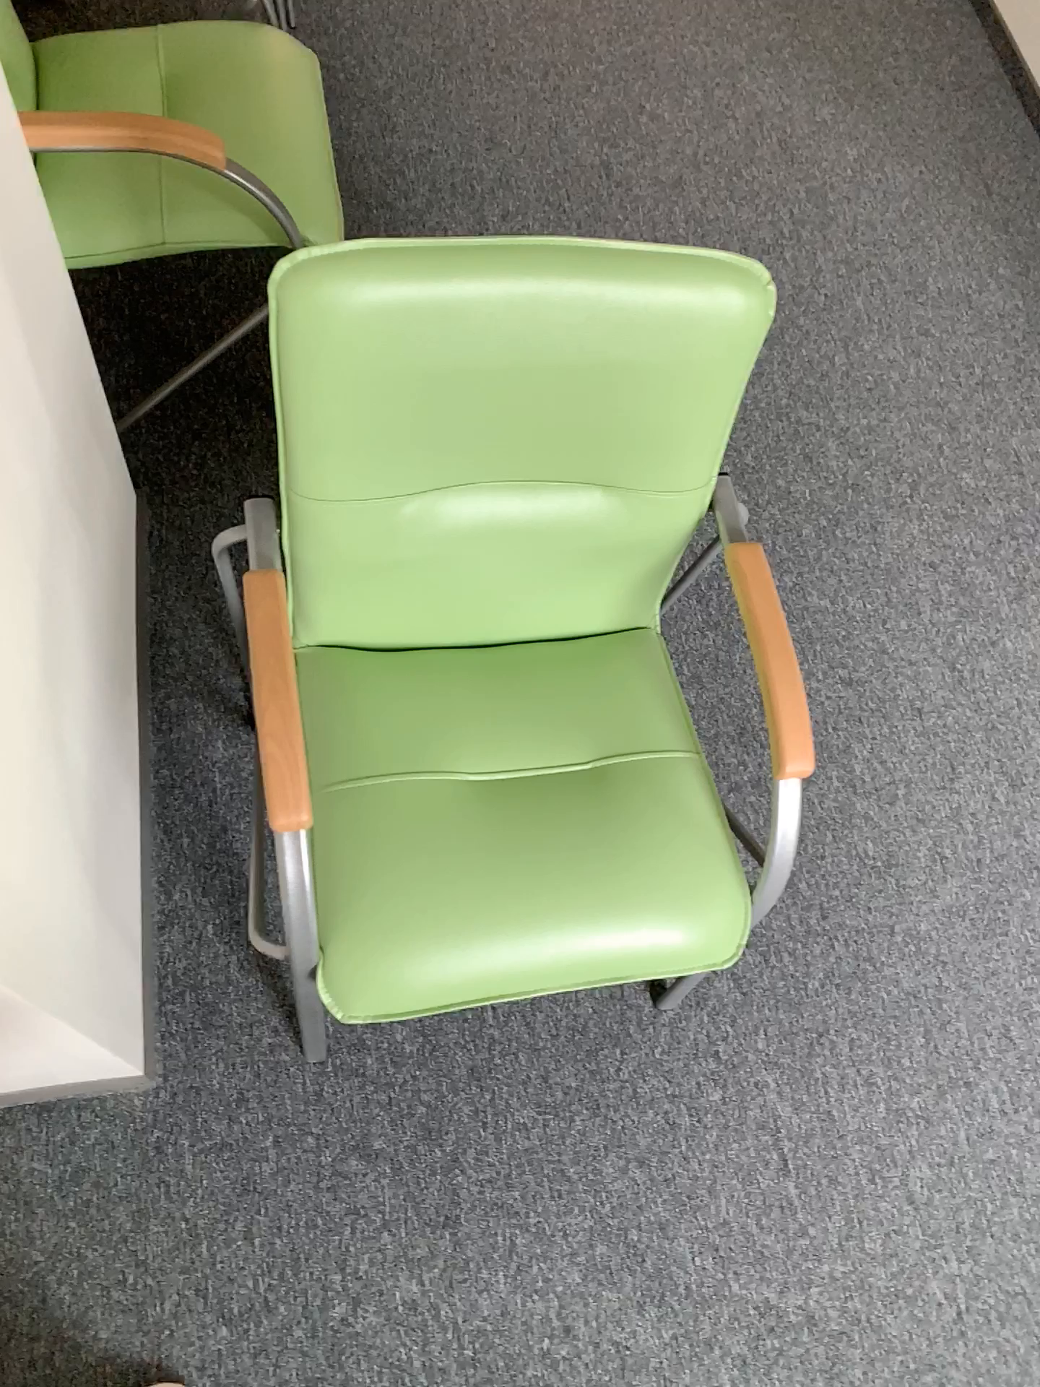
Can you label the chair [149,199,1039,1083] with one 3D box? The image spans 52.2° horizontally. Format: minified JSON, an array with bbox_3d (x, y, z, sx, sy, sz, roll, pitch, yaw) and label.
[{"bbox_3d":[-0.023,0.030,1.212,0.620,0.878,0.621,-4,66,-11],"label":"chair"}]
